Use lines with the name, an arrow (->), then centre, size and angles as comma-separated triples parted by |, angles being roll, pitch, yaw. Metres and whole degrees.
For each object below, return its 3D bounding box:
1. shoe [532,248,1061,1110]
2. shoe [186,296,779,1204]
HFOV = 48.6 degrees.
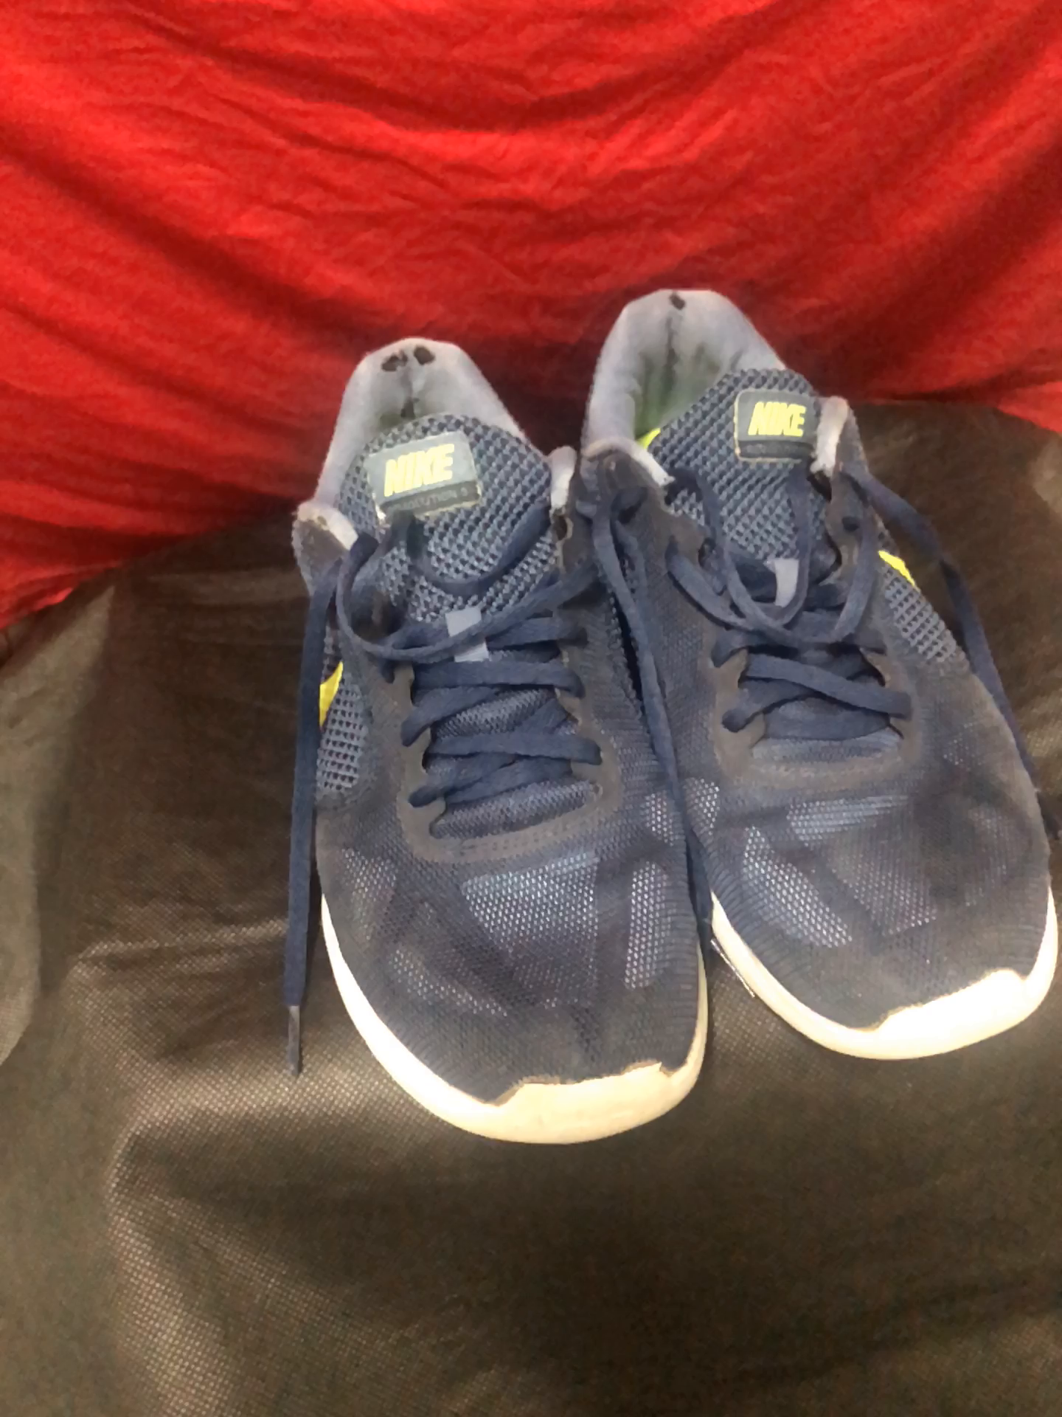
shoe -> 0.081, -0.031, 0.359 | 0.110, 0.089, 0.262 | -11, 46, -3
shoe -> -0.023, -0.006, 0.330 | 0.110, 0.099, 0.232 | -11, 46, -3
